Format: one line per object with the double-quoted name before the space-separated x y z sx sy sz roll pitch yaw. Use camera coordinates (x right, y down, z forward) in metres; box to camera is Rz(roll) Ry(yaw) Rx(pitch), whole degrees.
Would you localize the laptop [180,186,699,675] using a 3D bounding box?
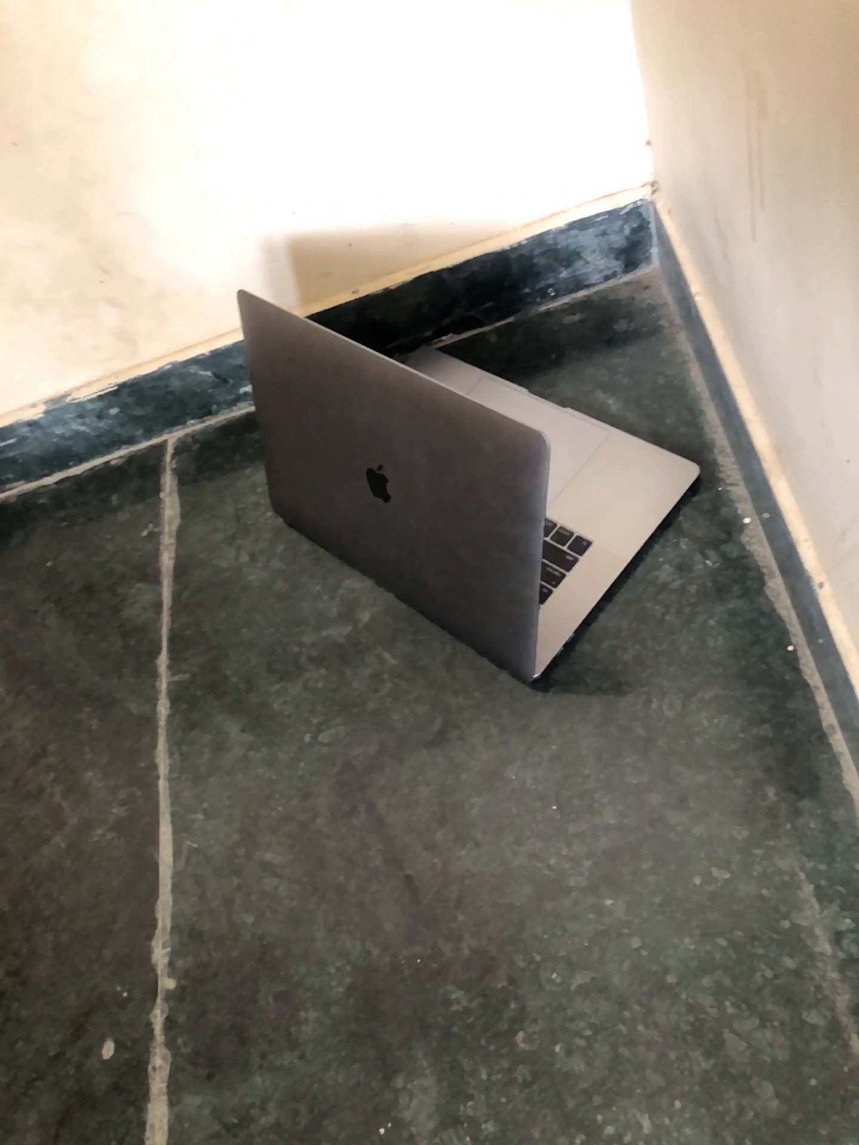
"laptop" 0.009 -0.127 0.771 0.330 0.198 0.221 34 77 36
